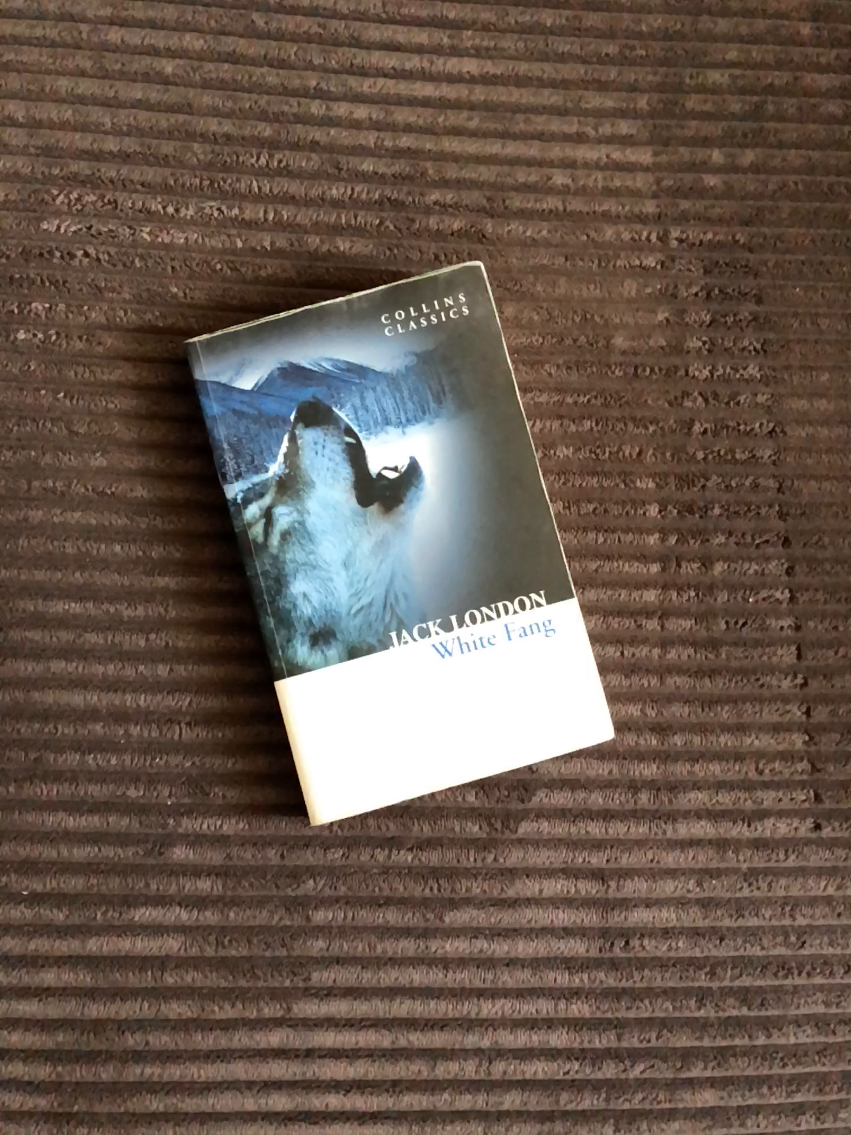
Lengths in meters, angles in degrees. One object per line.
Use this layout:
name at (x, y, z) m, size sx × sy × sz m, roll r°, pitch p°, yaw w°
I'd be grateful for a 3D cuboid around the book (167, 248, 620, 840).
book at (-0.011, -0.008, 0.334) m, size 0.114 × 0.030 × 0.178 m, roll -14°, pitch 90°, yaw 2°
